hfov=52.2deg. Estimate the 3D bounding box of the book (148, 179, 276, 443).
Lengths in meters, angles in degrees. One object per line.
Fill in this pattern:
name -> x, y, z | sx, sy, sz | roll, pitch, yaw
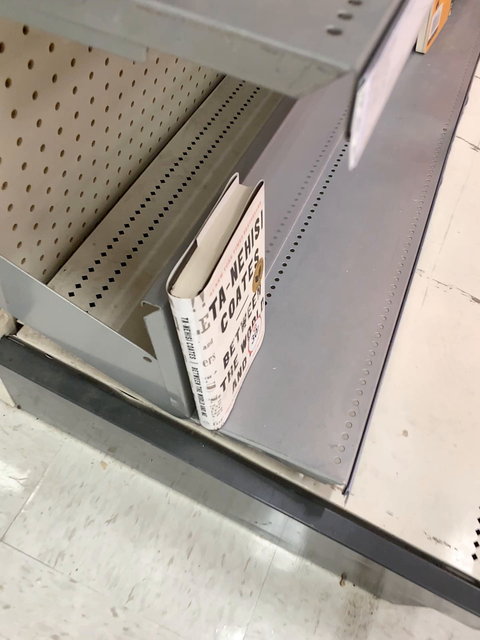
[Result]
book -> -0.010, 0.002, 0.405 | 0.030, 0.187, 0.130 | 16, 57, 17
